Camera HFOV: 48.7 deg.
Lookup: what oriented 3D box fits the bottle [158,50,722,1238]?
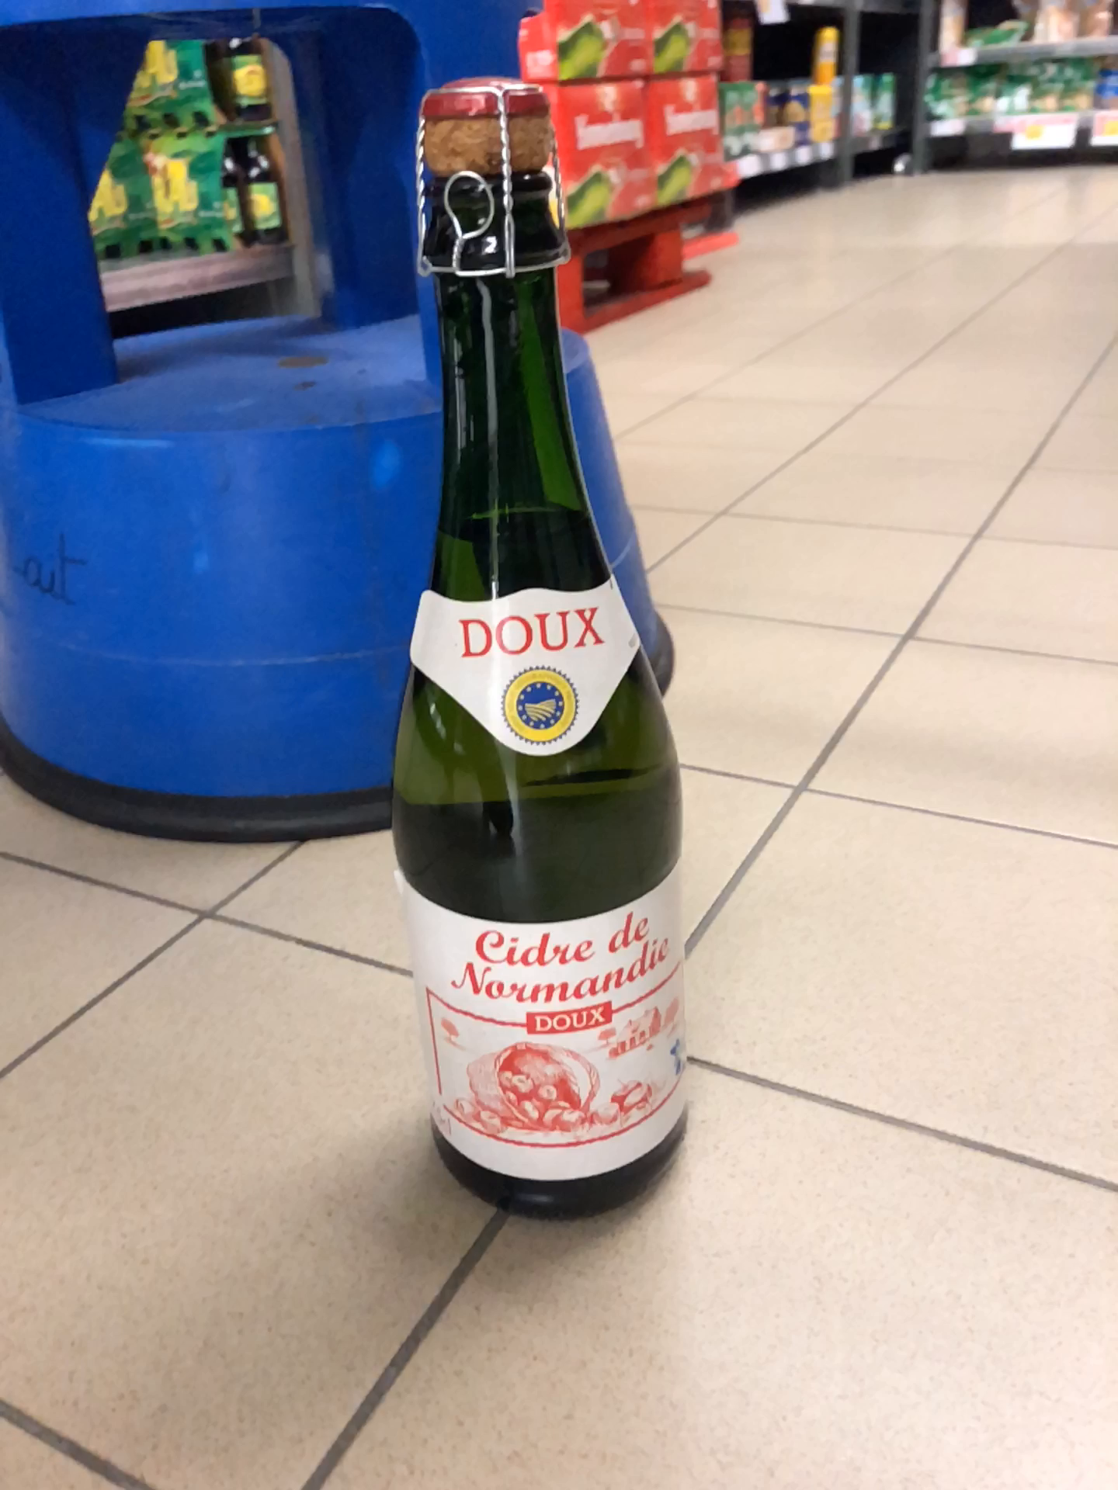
[{"bbox_3d":[-0.012,-0.012,0.325,0.100,0.288,0.091,-3,26,3],"label":"bottle"}]
